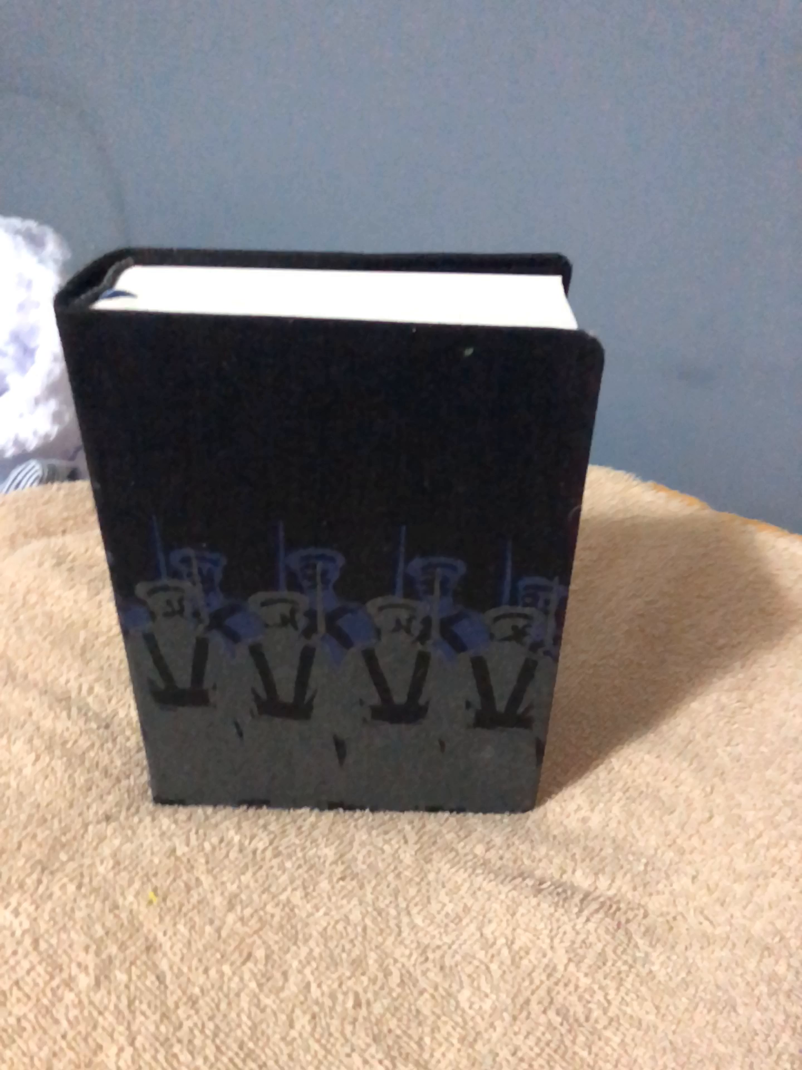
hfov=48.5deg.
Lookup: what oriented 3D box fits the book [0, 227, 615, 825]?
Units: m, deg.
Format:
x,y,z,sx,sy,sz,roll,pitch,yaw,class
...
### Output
x,y,z,sx,sy,sz,roll,pitch,yaw,class
-0.027,0.005,0.275,0.150,0.179,0.060,0,33,0,book
